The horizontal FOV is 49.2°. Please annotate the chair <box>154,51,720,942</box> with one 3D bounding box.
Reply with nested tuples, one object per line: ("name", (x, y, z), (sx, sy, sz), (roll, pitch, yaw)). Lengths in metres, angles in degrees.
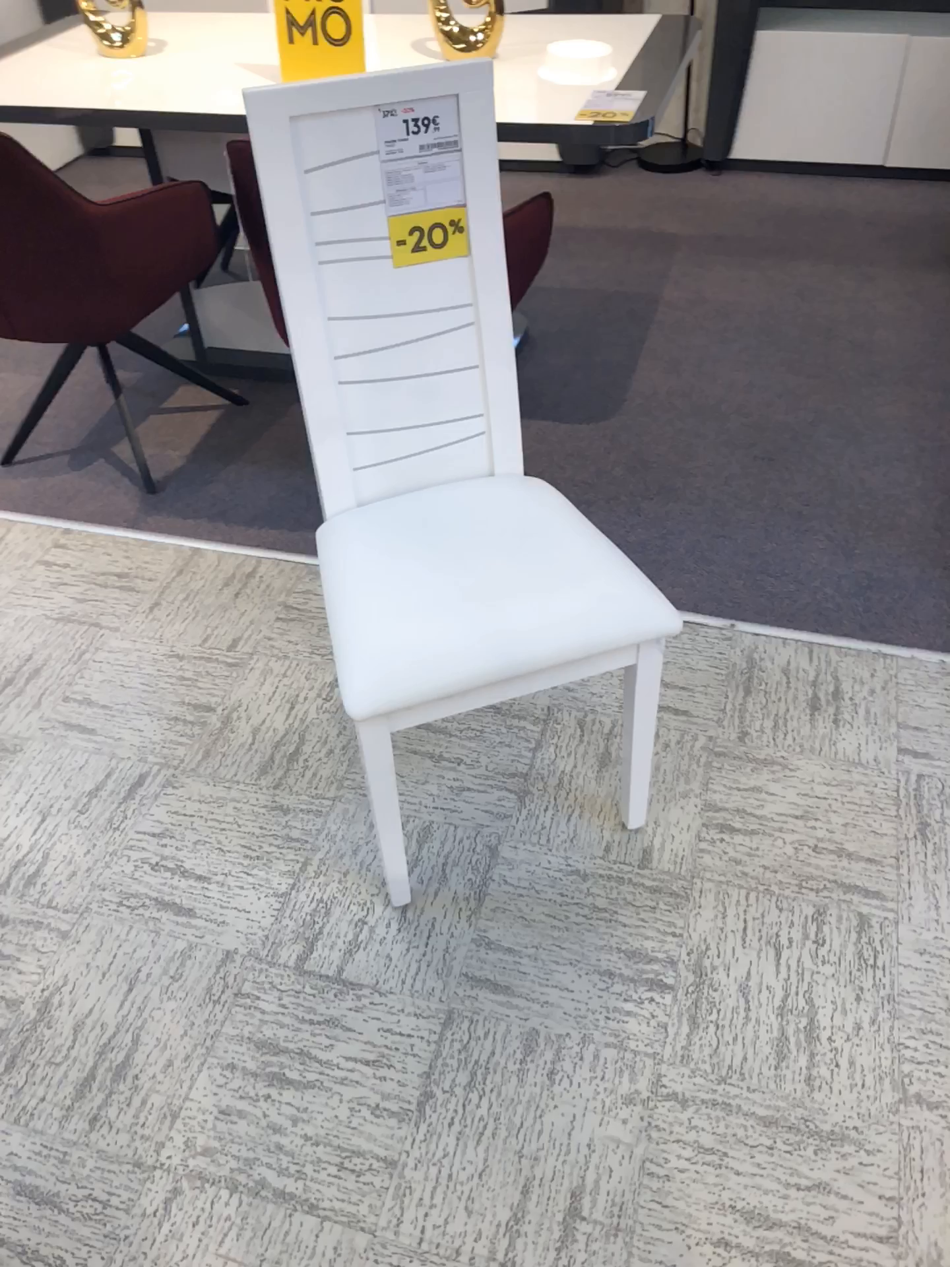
("chair", (-0.056, -0.151, 1.423), (0.451, 1.004, 0.542), (-15, 43, -13))
